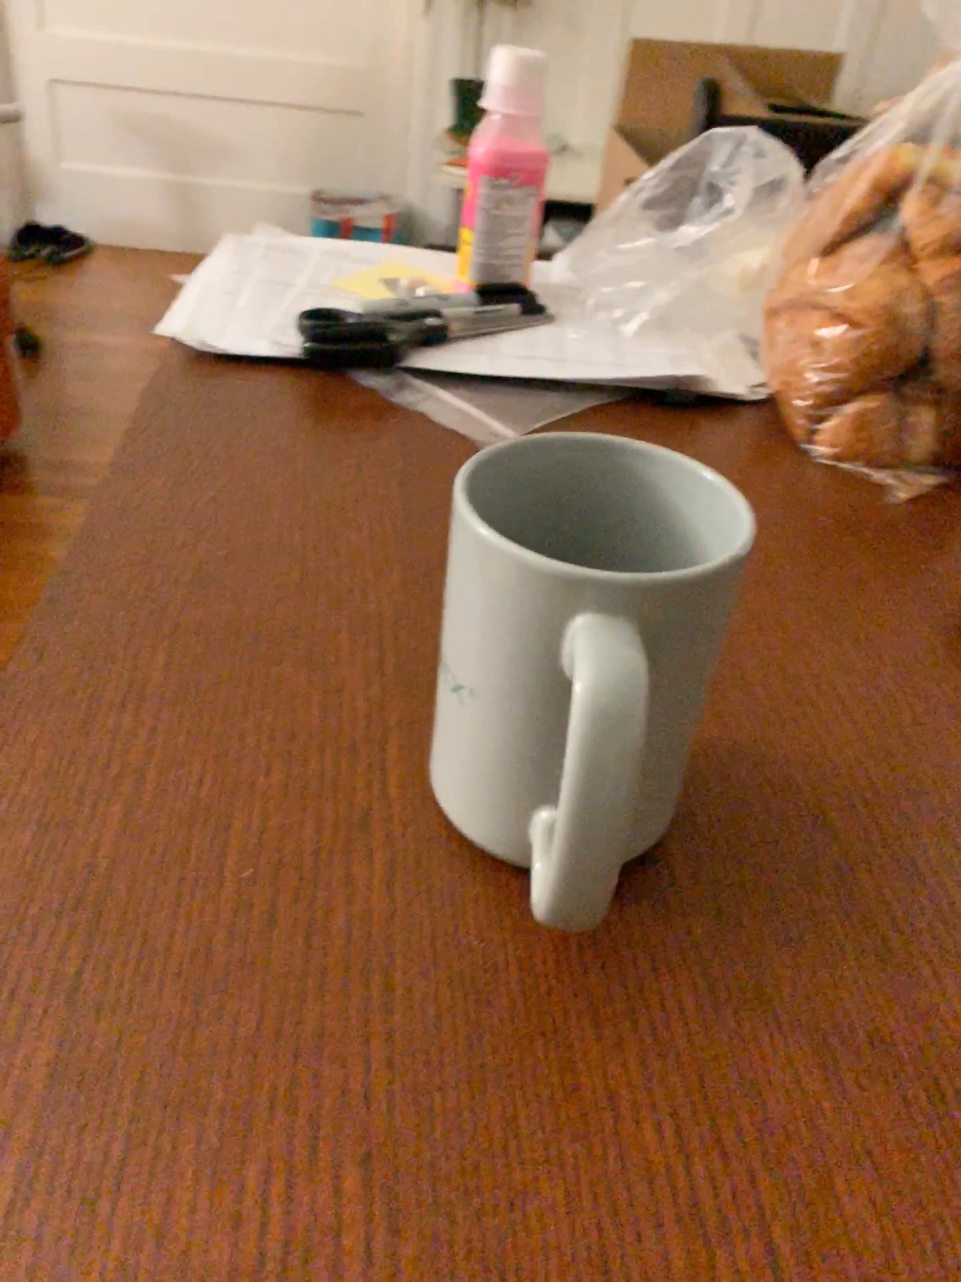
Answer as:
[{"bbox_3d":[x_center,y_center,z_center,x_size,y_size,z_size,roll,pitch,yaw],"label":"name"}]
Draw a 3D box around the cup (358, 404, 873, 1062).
[{"bbox_3d":[0.032,0.017,0.286,0.100,0.109,0.141,9,36,3],"label":"cup"}]
